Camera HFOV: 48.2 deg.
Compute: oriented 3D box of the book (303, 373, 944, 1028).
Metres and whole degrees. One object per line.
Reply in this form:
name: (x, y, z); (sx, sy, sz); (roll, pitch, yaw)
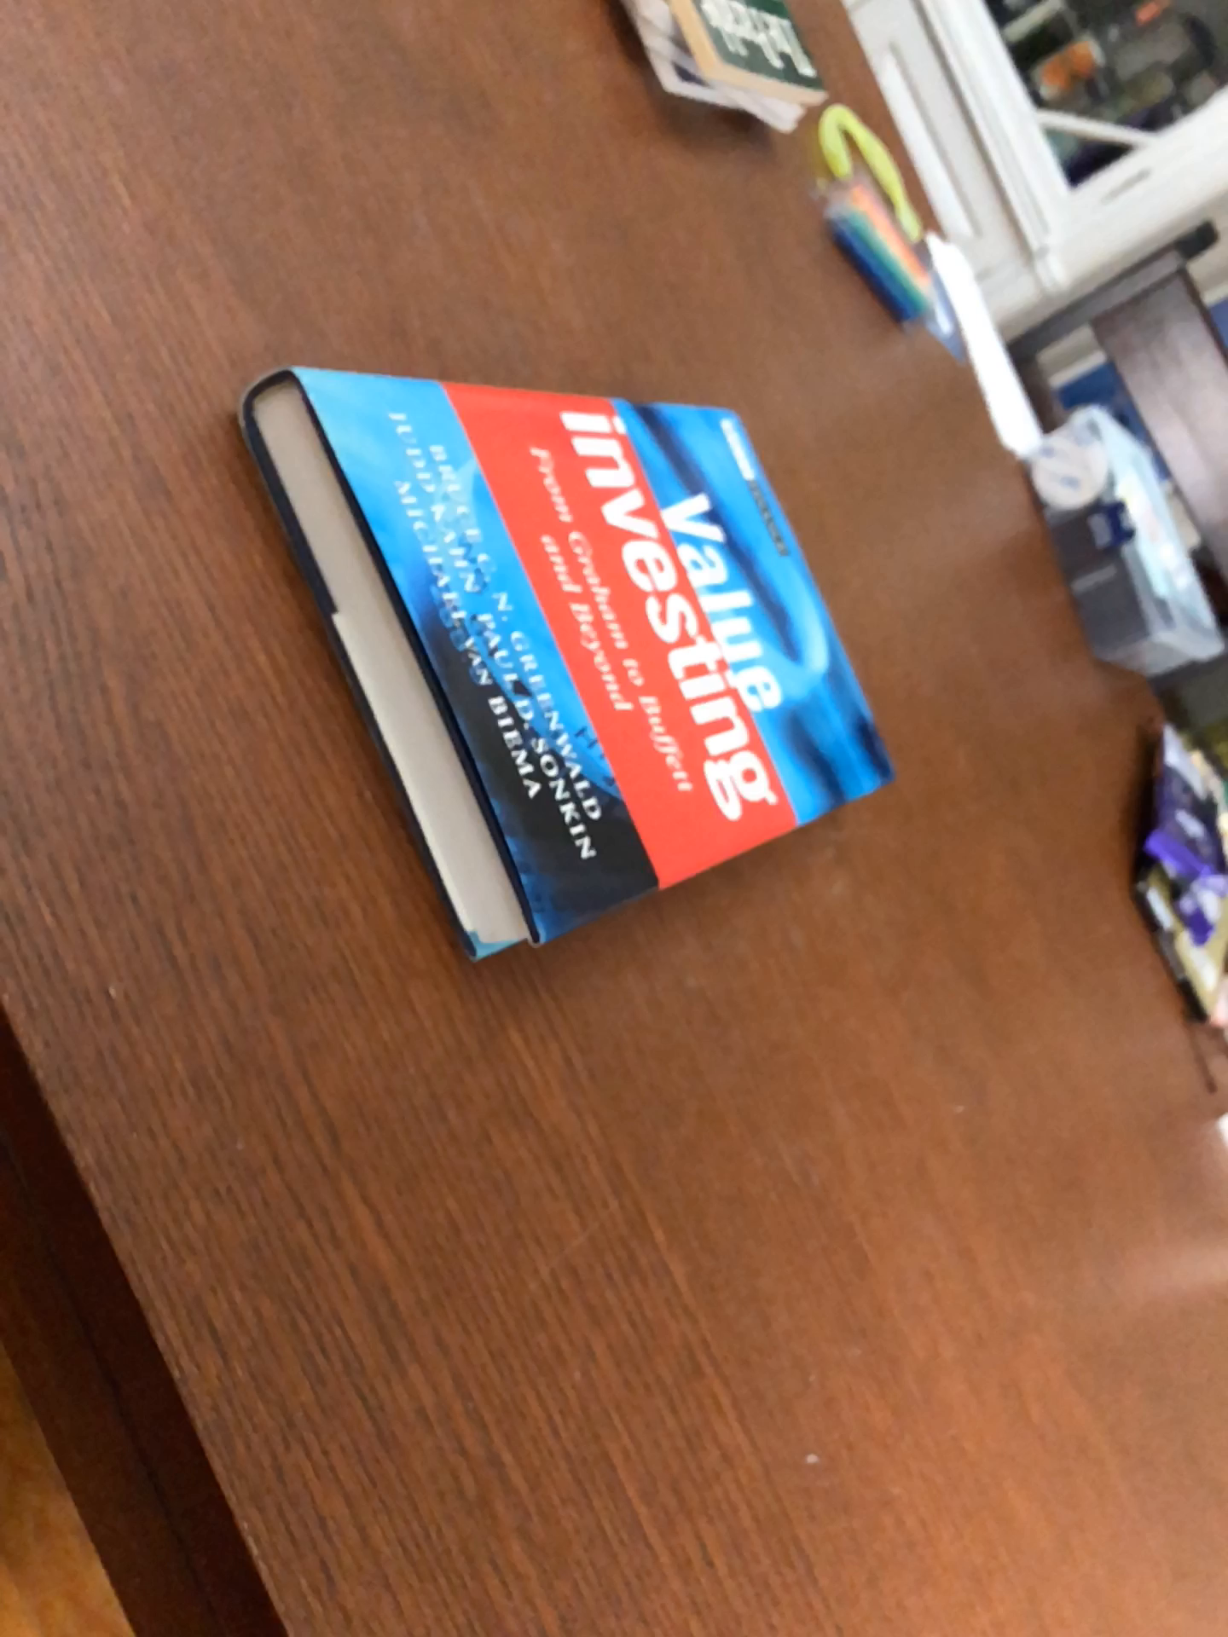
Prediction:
book: (0.023, -0.050, 0.438); (0.231, 0.020, 0.170); (-19, 85, -55)
